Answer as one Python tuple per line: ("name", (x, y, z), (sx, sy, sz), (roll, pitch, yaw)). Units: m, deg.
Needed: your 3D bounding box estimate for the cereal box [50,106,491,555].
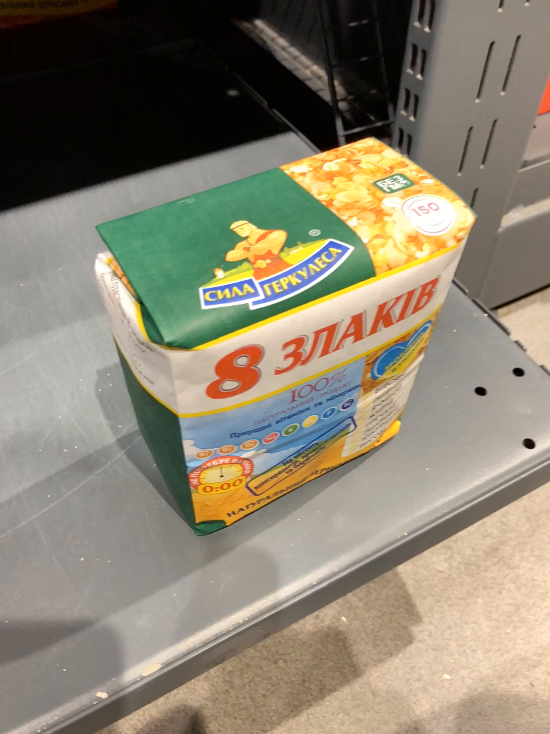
("cereal box", (-0.001, -0.011, 0.243), (0.120, 0.129, 0.070), (-23, 53, -19))
